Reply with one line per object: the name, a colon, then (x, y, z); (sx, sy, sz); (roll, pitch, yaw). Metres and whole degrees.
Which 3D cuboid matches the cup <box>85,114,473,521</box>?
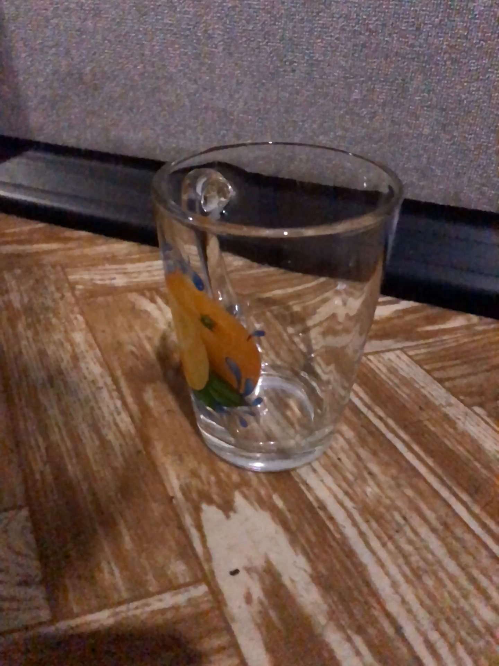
cup: (0.003, -0.017, 0.220); (0.085, 0.098, 0.117); (-20, 40, -25)
